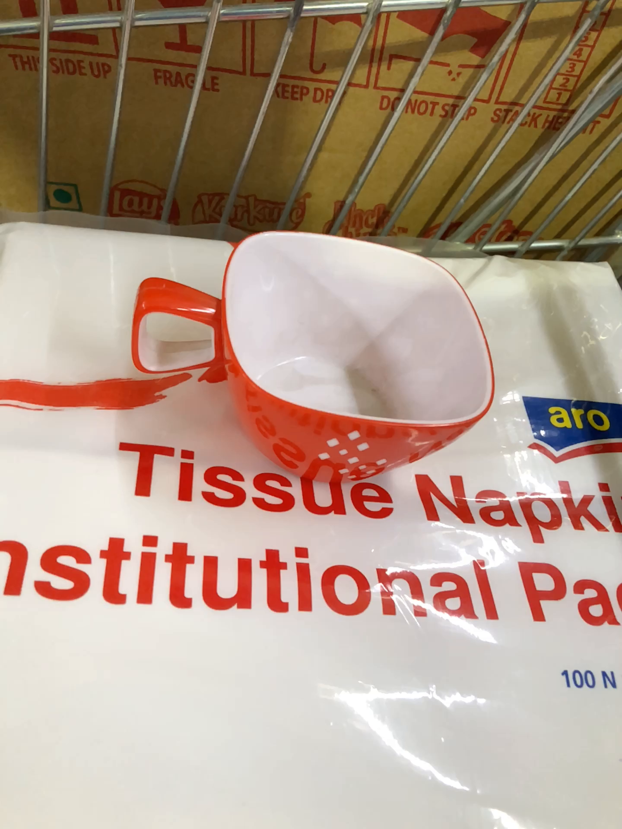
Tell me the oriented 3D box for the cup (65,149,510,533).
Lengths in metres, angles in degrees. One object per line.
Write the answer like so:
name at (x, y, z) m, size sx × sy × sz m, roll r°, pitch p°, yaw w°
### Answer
cup at (-0.011, -0.019, 0.230) m, size 0.120 × 0.060 × 0.090 m, roll 9°, pitch 57°, yaw -17°
